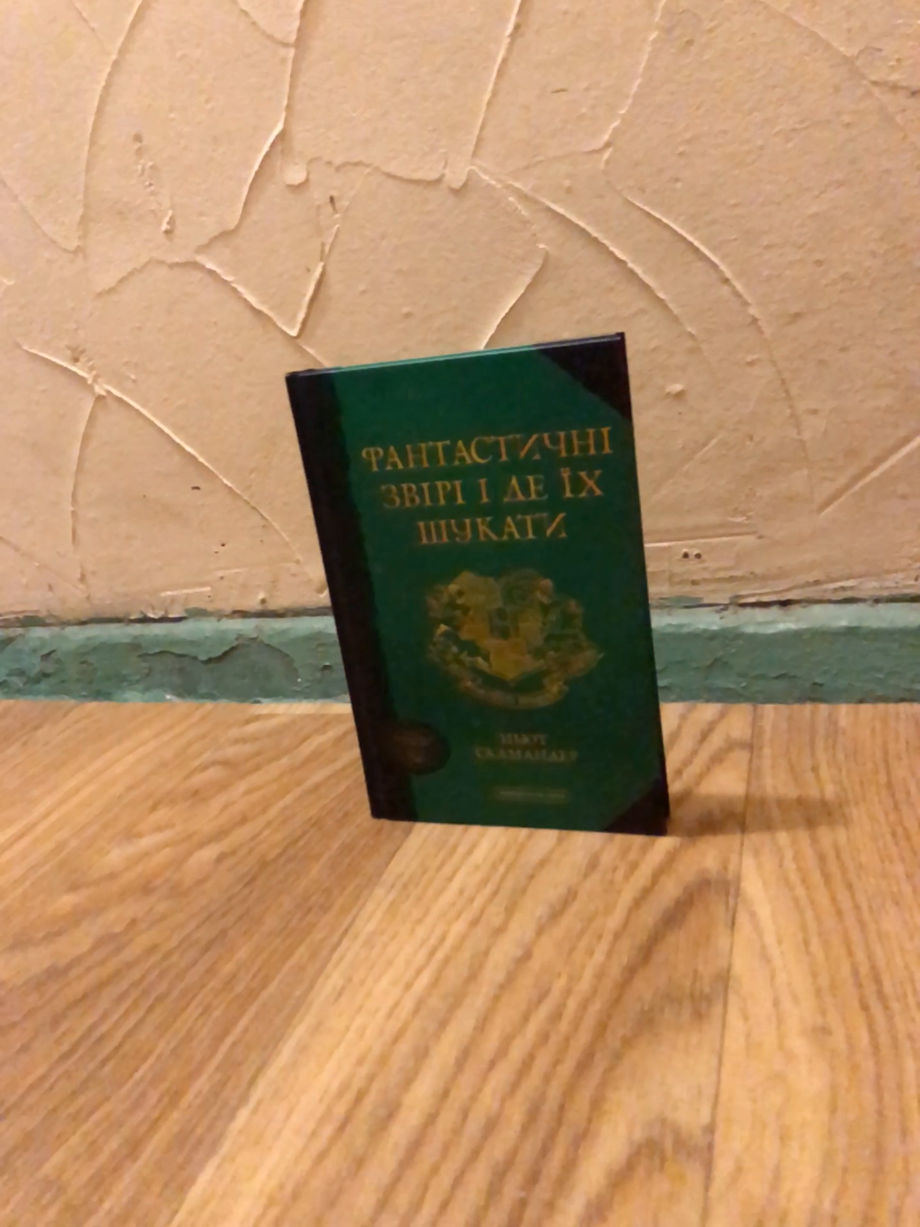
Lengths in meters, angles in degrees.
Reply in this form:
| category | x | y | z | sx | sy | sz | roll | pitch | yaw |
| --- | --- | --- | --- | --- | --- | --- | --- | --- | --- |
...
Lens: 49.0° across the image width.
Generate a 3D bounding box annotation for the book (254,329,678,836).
| category | x | y | z | sx | sy | sz | roll | pitch | yaw |
| --- | --- | --- | --- | --- | --- | --- | --- | --- | --- |
| book | 0.005 | -0.006 | 0.414 | 0.148 | 0.197 | 0.024 | -1 | 19 | 21 |
